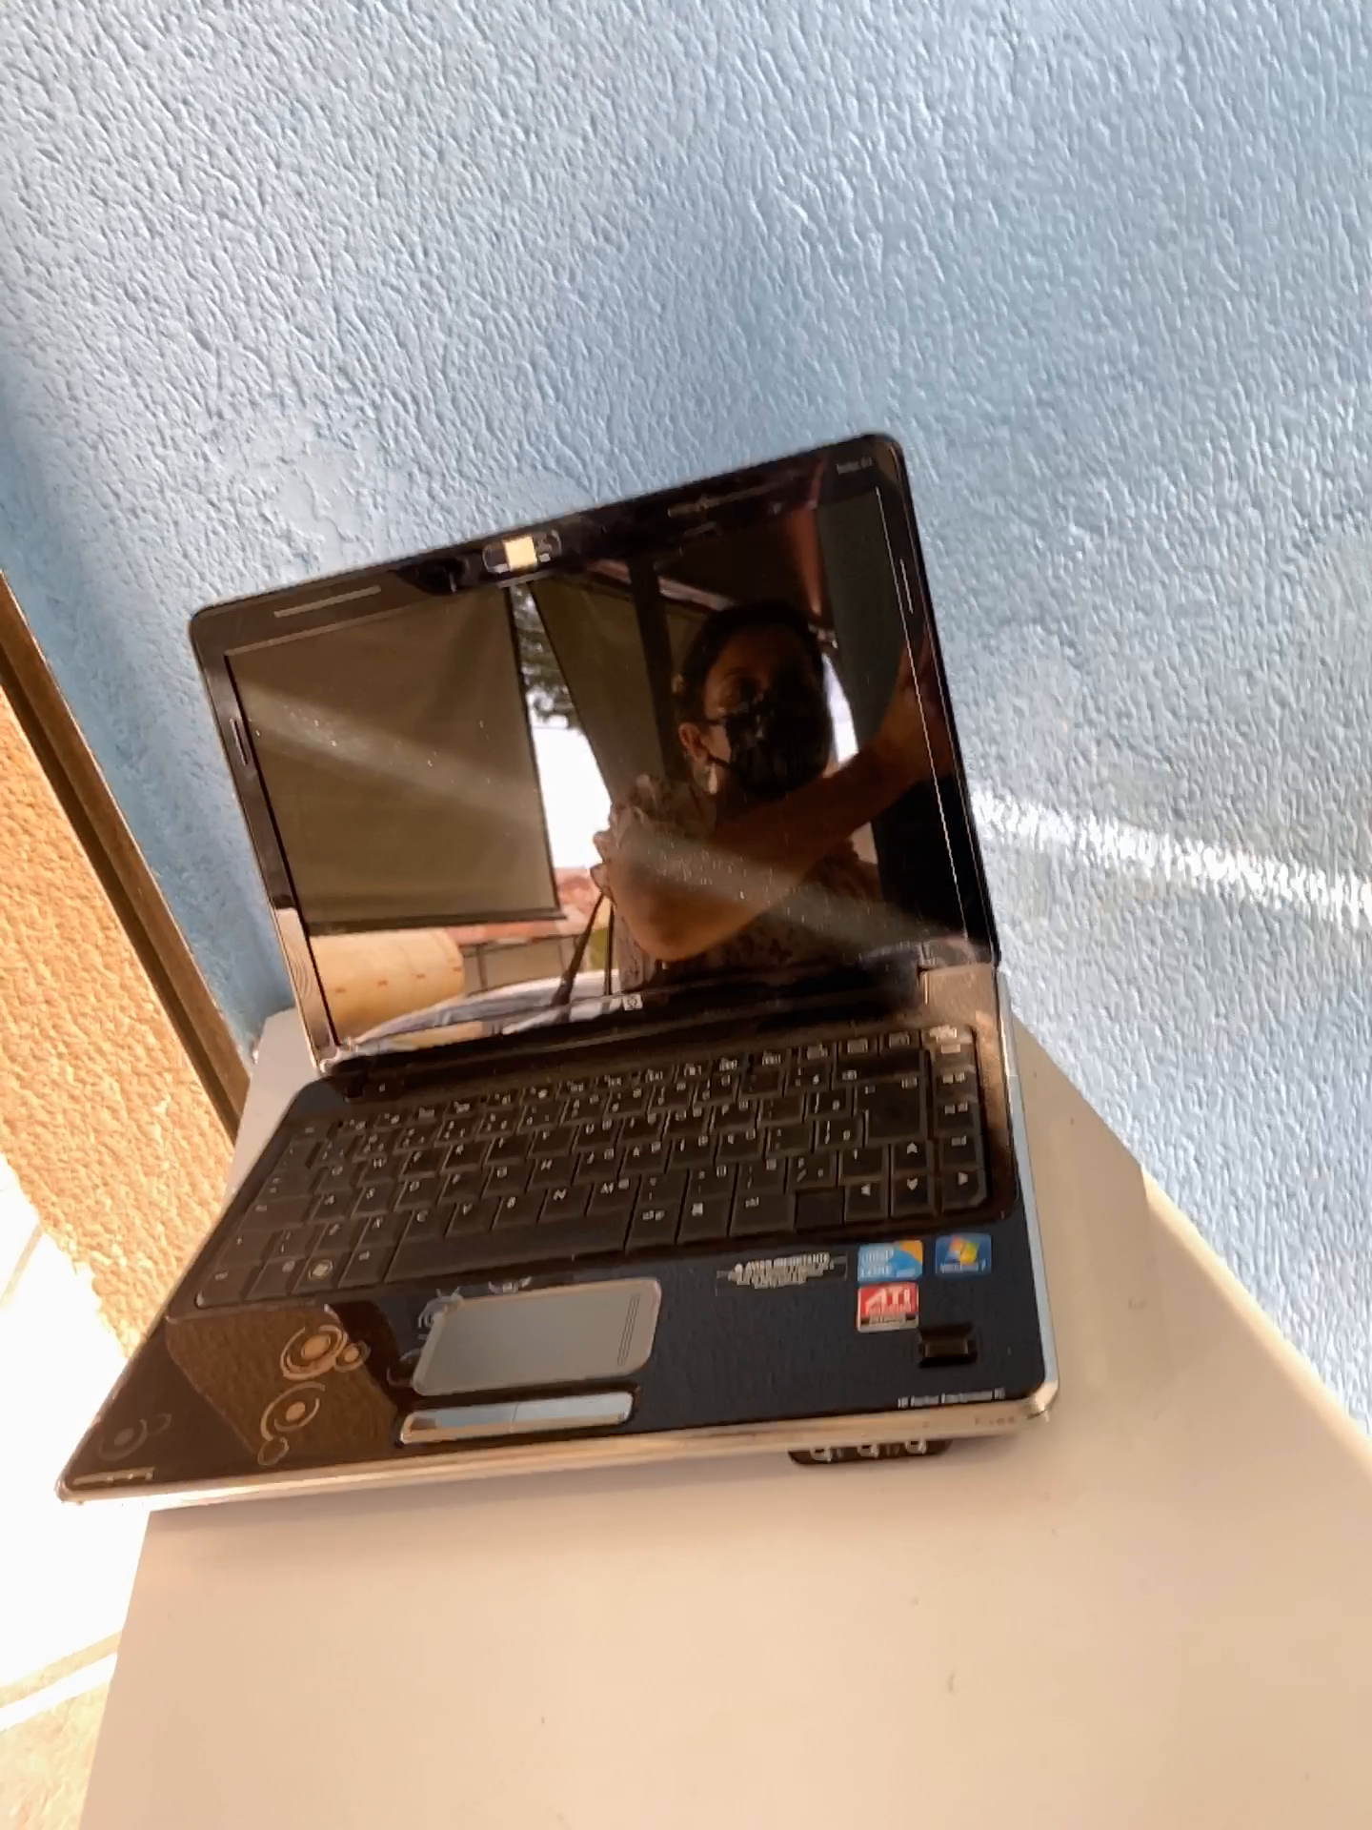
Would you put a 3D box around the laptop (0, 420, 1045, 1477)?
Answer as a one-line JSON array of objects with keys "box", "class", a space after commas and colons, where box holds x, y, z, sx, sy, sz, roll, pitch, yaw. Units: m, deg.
[{"box": [-0.063, -0.006, 0.520, 0.321, 0.211, 0.303, -11, 26, 14], "class": "laptop"}]
